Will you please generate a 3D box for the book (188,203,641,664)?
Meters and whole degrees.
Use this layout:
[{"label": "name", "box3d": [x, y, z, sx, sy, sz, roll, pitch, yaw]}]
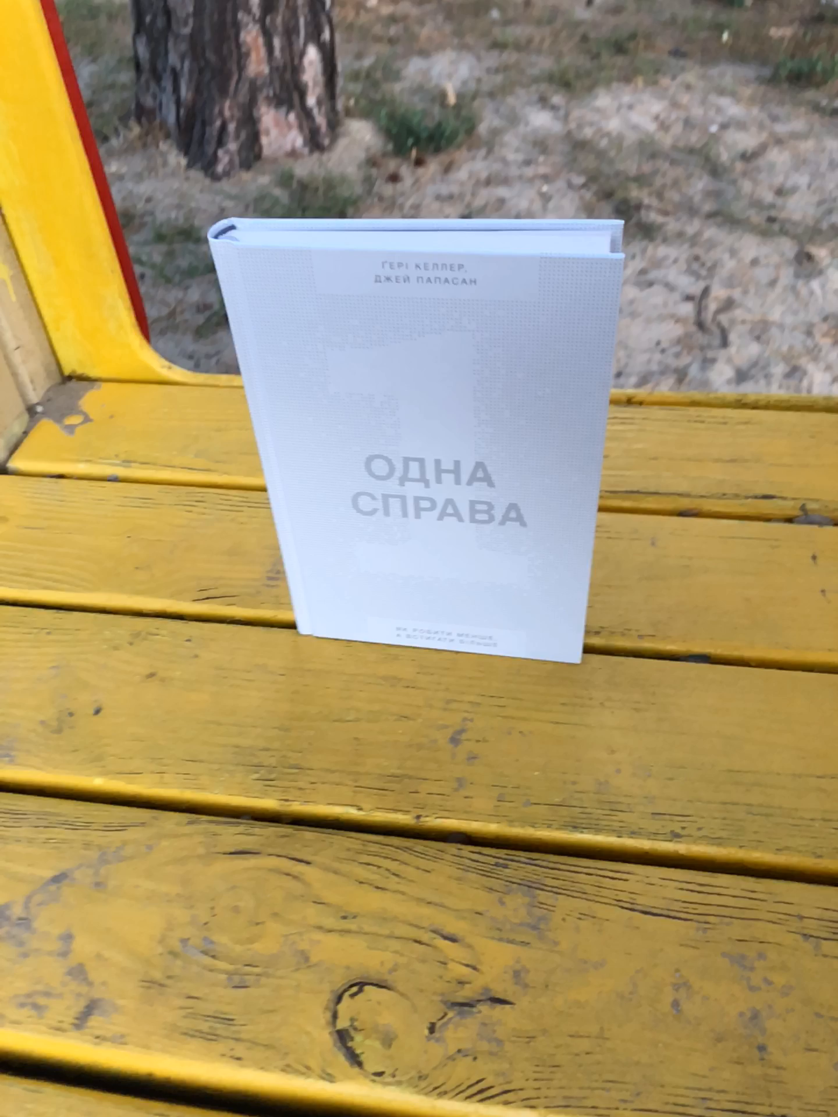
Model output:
[{"label": "book", "box3d": [0.004, -0.041, 0.392, 0.154, 0.208, 0.030, 5, 46, 10]}]
